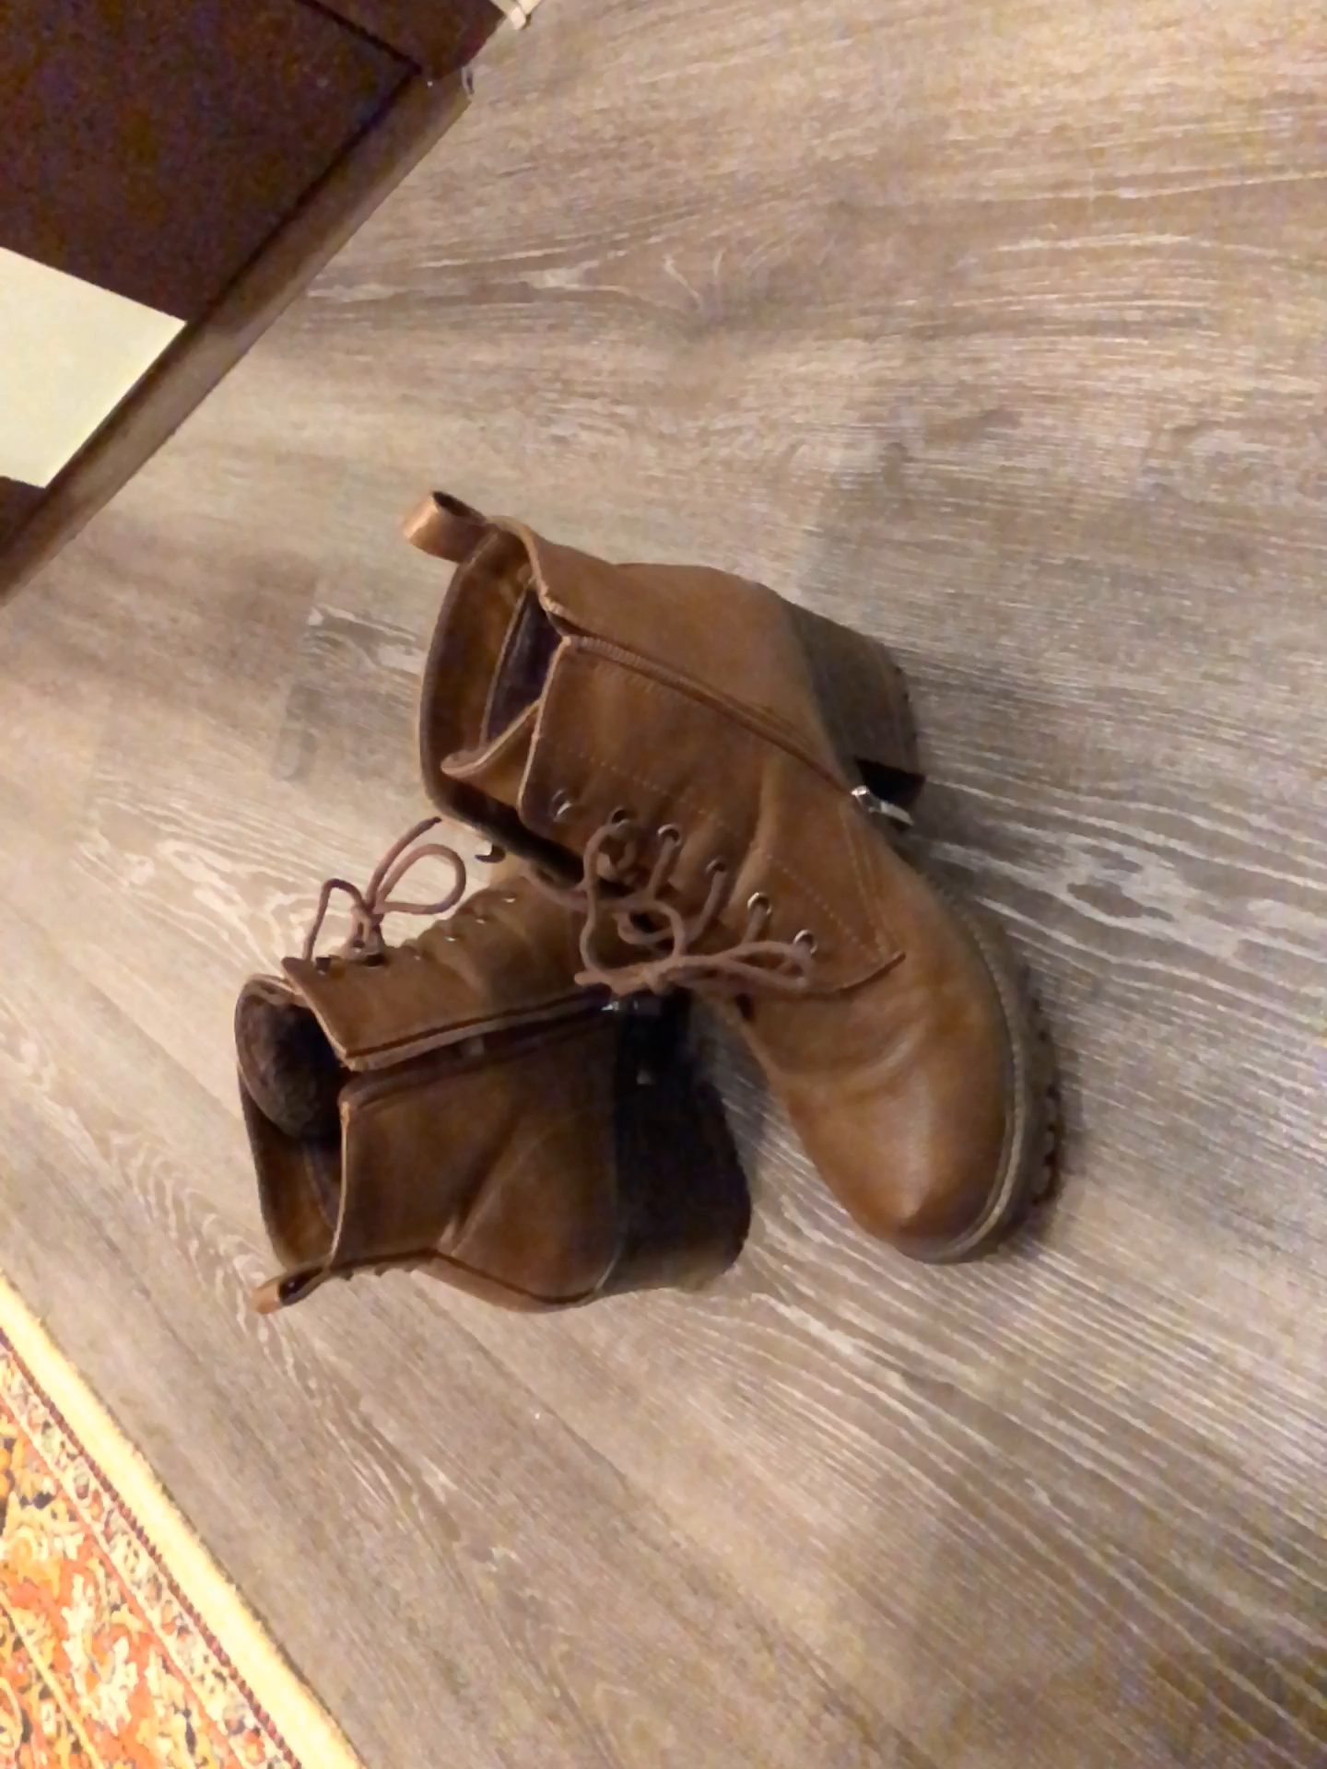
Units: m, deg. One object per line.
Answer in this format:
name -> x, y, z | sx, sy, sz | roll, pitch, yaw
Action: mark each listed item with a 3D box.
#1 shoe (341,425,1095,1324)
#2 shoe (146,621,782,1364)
shoe -> 0.016, 0.007, 0.446 | 0.090, 0.189, 0.220 | -27, 63, 41
shoe -> -0.077, 0.043, 0.532 | 0.100, 0.169, 0.221 | -34, 59, 38
